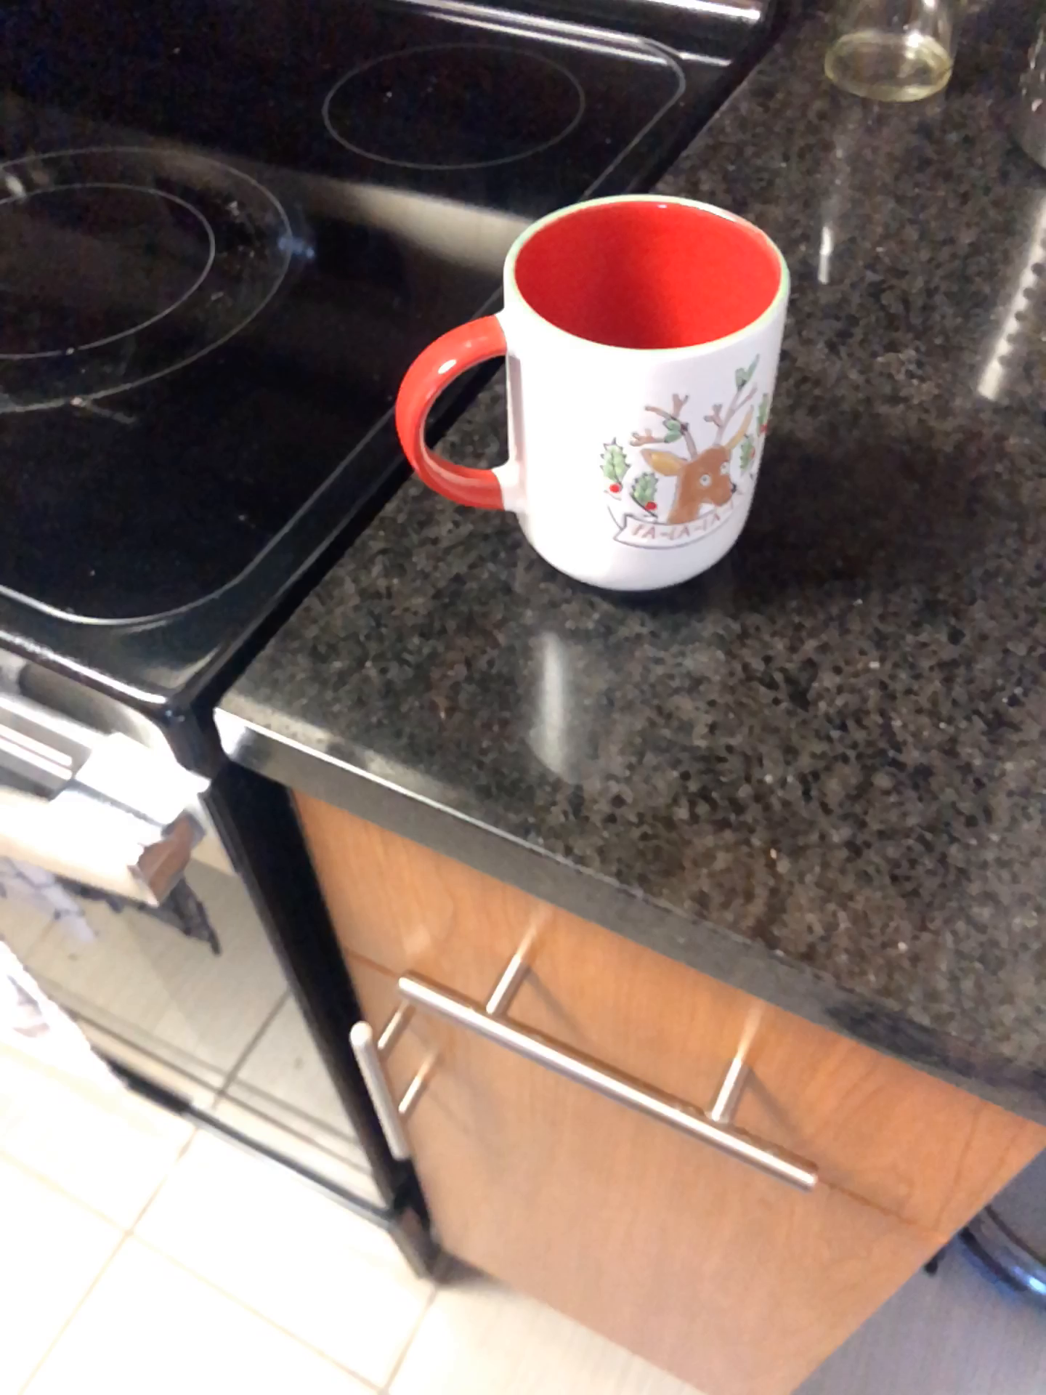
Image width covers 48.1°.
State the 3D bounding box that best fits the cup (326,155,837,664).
[{"bbox_3d":[0.016,-0.096,0.394,0.130,0.110,0.090,-15,52,-10],"label":"cup"}]
